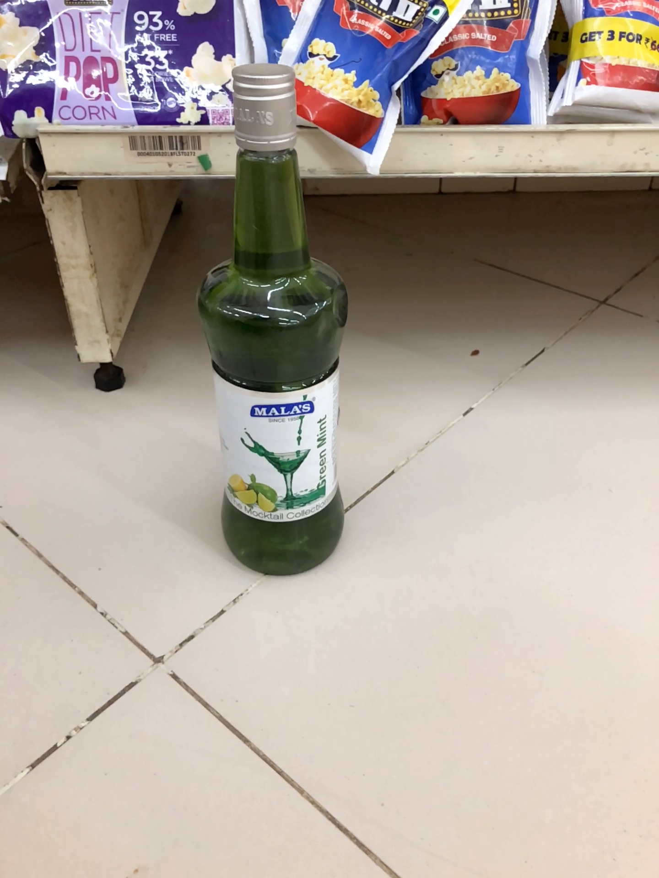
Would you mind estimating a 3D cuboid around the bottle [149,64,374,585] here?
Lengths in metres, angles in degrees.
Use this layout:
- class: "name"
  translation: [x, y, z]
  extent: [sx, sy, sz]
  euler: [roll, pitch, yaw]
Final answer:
- class: "bottle"
  translation: [-0.029, -0.048, 0.412]
  extent: [0.090, 0.278, 0.091]
  euler: [0, 38, 0]
